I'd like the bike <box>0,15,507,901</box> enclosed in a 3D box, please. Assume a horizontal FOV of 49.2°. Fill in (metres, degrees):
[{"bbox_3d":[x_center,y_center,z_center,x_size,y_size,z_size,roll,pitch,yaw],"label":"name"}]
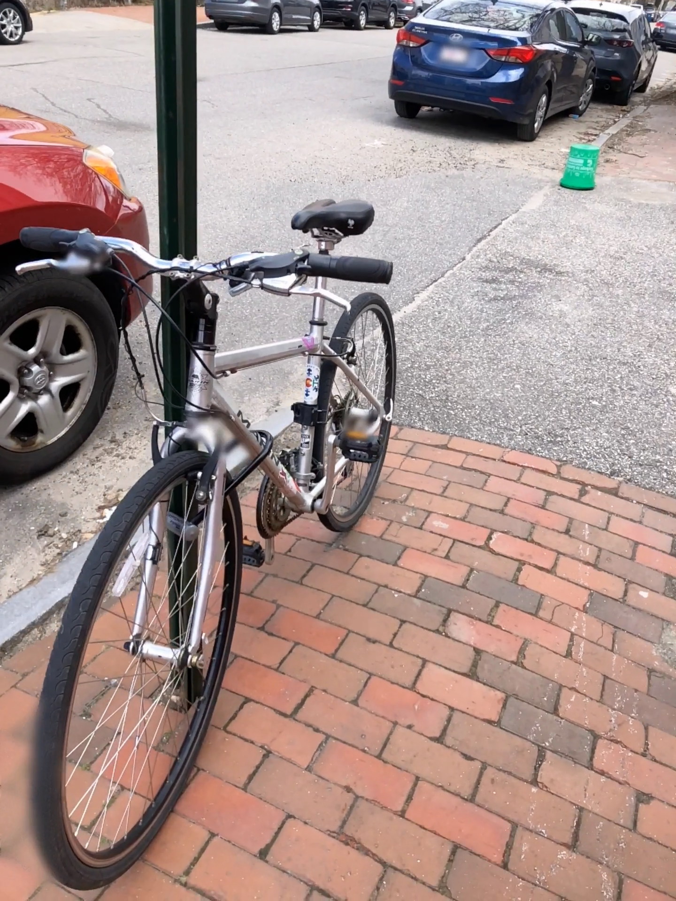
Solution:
[{"bbox_3d":[-0.146,-0.100,1.473,0.608,1.011,1.569,15,27,12],"label":"bike"}]
